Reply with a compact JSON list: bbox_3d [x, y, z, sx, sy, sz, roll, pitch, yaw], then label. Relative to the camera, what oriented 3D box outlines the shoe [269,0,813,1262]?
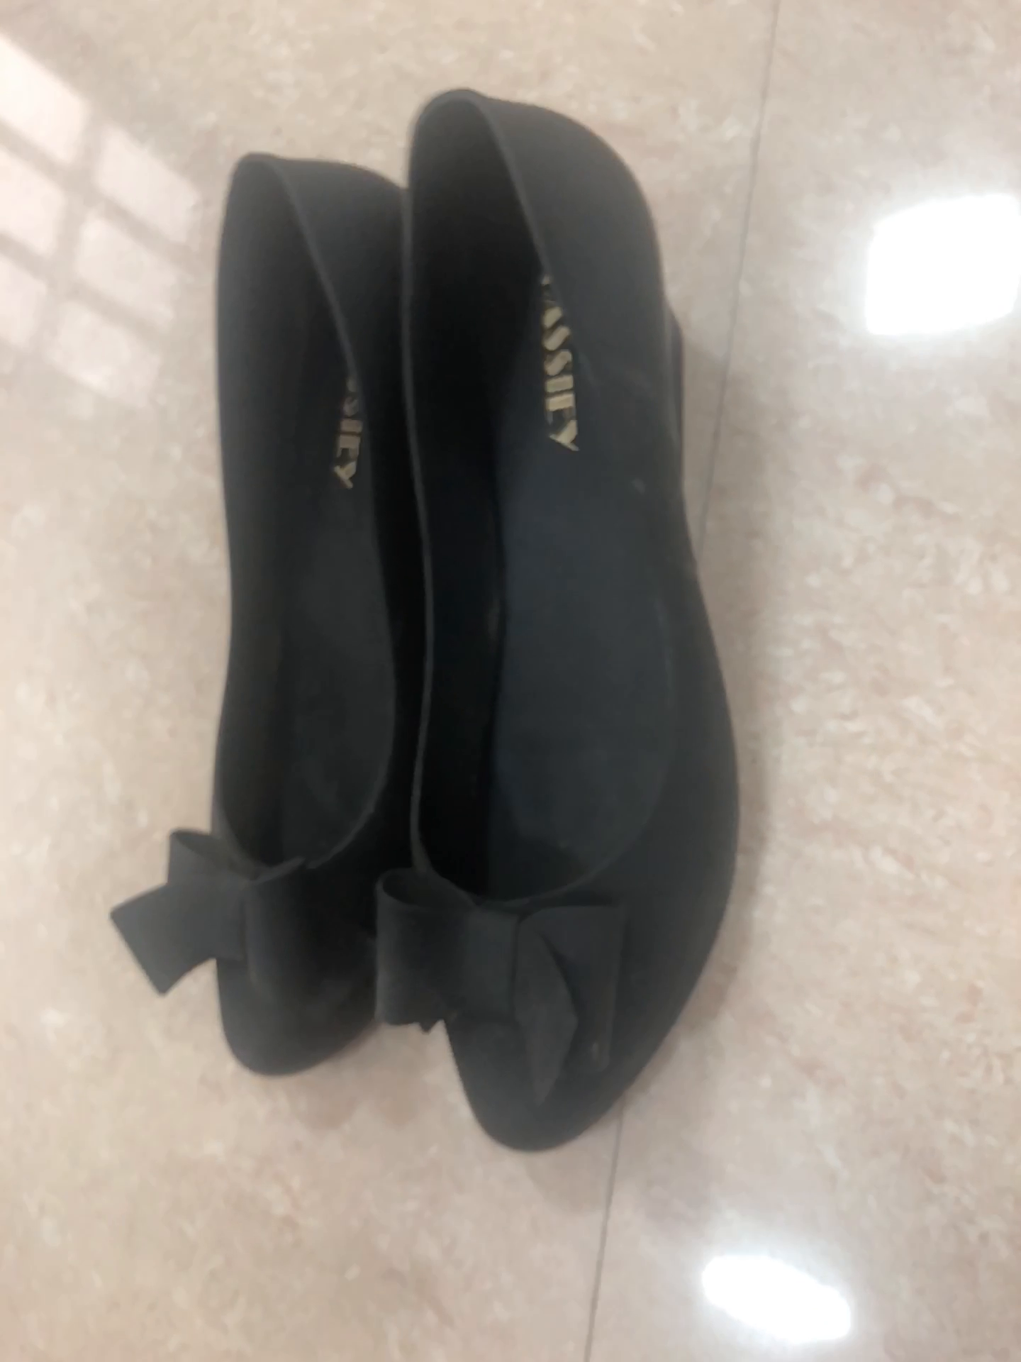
[{"bbox_3d":[0.017,-0.029,0.314,0.090,0.090,0.310,0,80,32],"label":"shoe"}]

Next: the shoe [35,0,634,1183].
[{"bbox_3d":[-0.046,-0.030,0.348,0.090,0.090,0.310,6,84,33],"label":"shoe"}]
